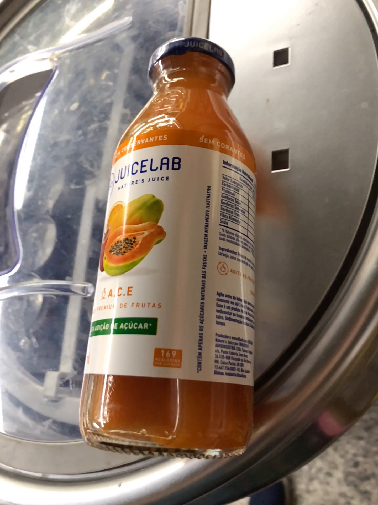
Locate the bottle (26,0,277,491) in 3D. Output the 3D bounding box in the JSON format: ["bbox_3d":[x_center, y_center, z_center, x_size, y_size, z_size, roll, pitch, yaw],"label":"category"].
[{"bbox_3d":[-0.007,-0.019,0.176,0.070,0.050,0.190,-7,70,34],"label":"bottle"}]
